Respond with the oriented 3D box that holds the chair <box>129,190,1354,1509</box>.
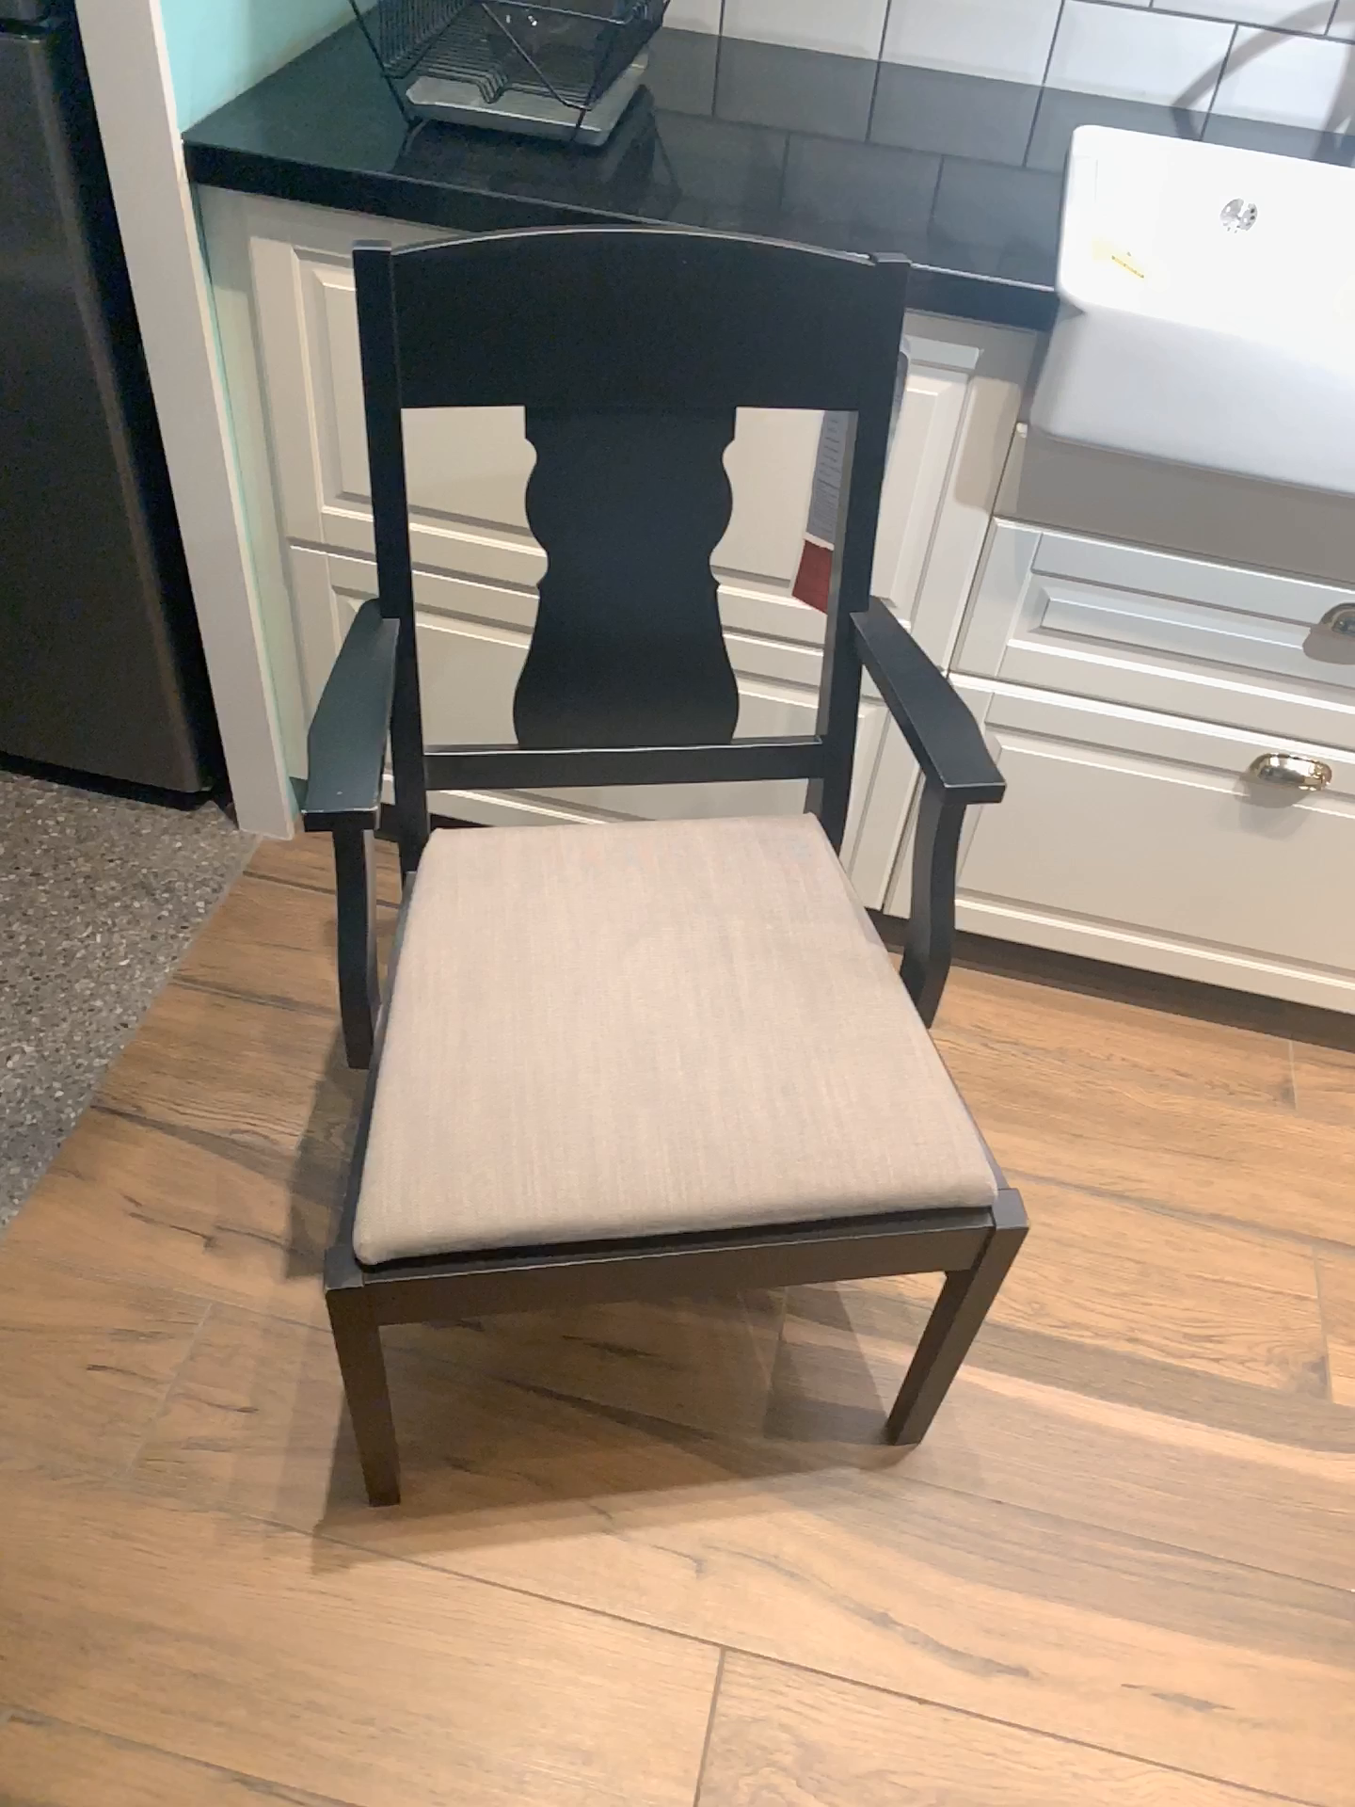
[{"bbox_3d":[-0.027,-0.002,1.144,0.570,0.887,0.592,-3,47,-9],"label":"chair"}]
